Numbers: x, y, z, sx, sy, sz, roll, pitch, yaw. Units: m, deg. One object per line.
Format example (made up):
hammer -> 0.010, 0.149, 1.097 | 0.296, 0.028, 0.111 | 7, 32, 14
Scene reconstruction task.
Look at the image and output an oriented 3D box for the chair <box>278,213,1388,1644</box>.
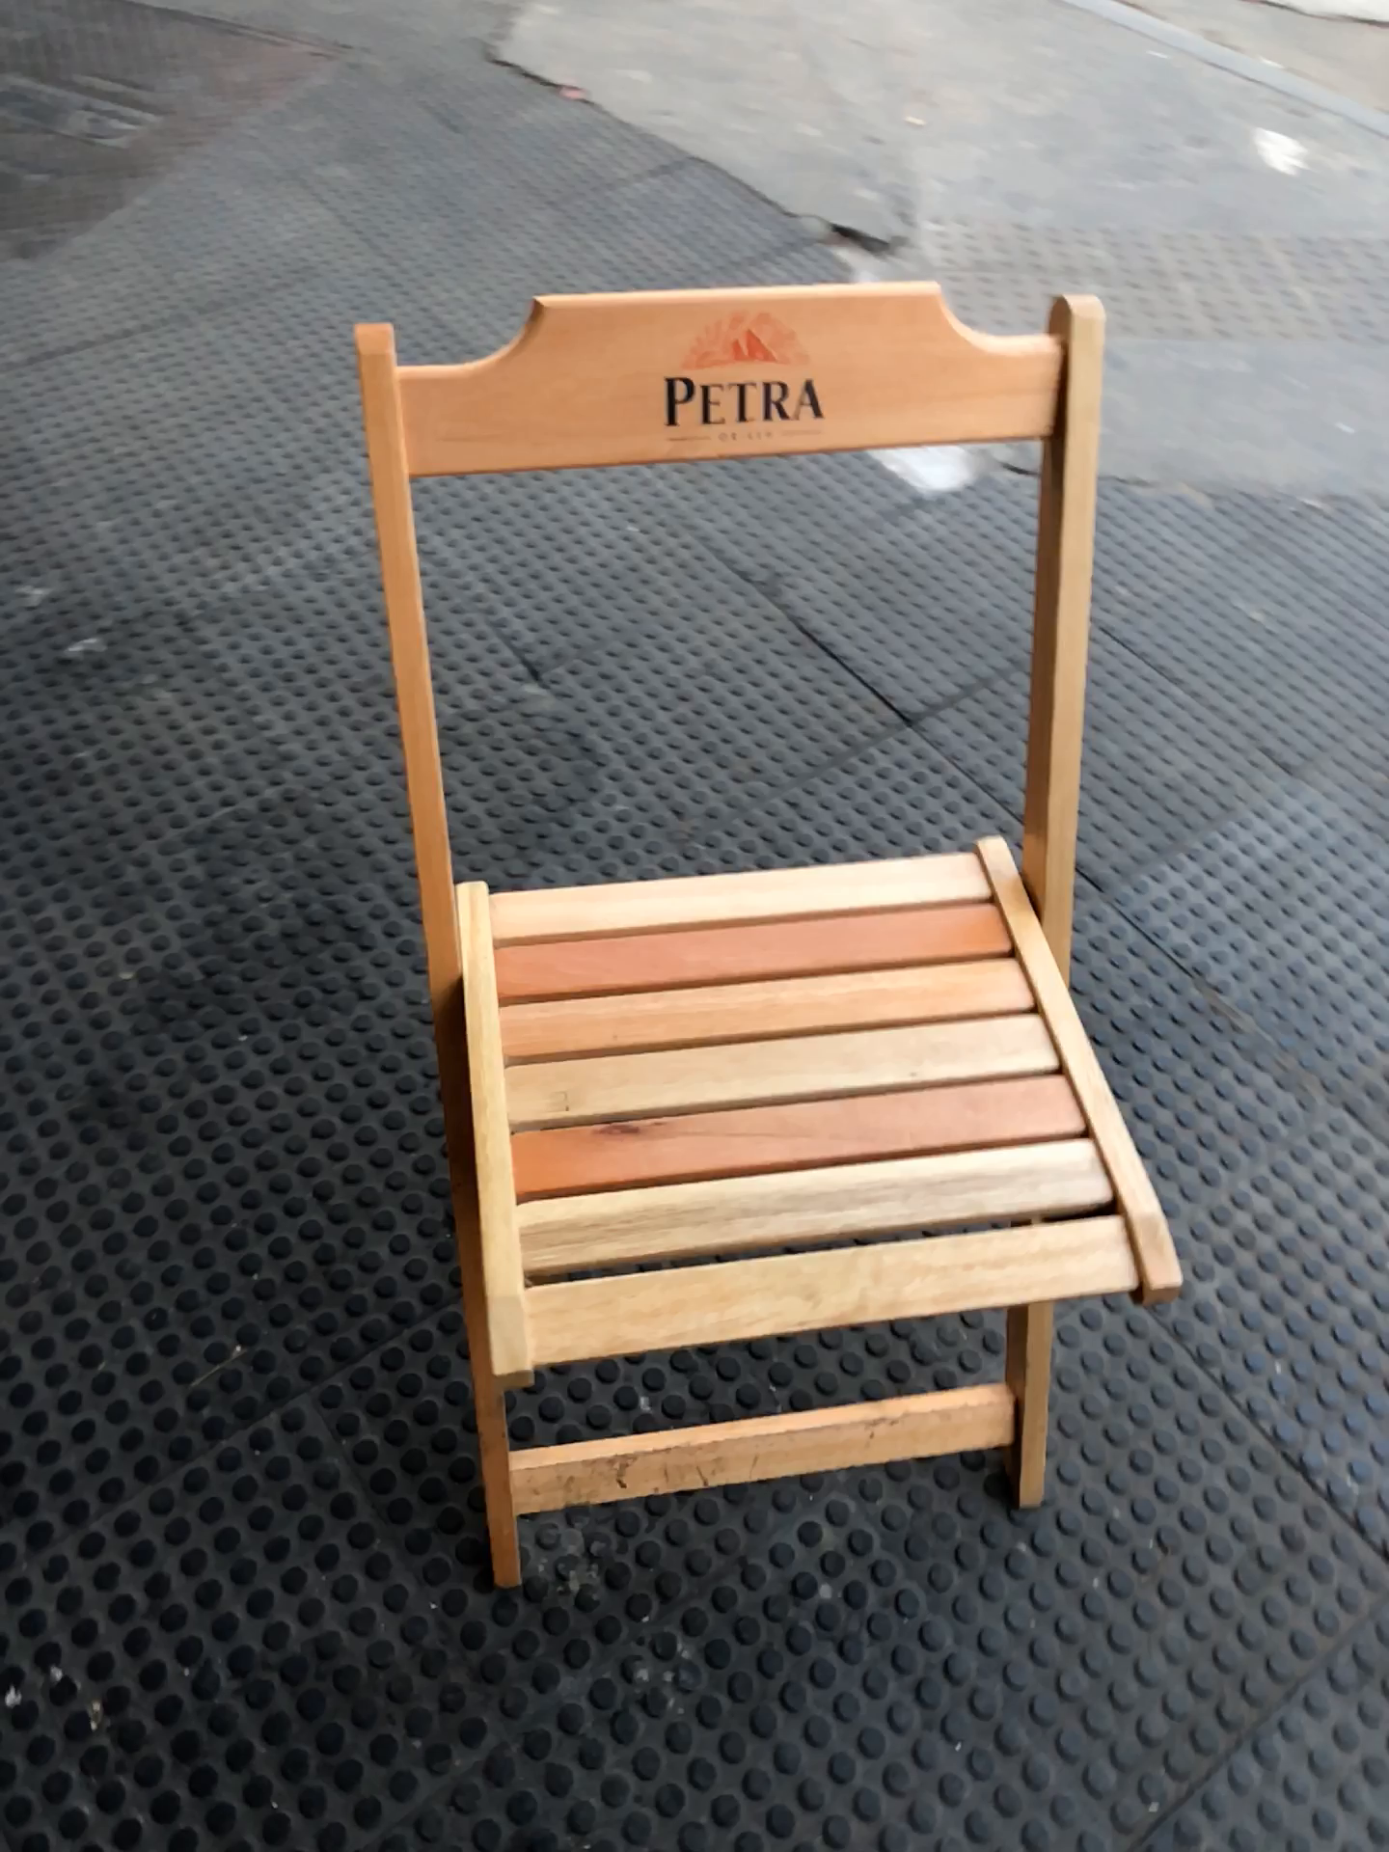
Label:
chair -> 0.051, 0.051, 0.968 | 0.480, 0.755, 0.503 | -5, 51, -7
